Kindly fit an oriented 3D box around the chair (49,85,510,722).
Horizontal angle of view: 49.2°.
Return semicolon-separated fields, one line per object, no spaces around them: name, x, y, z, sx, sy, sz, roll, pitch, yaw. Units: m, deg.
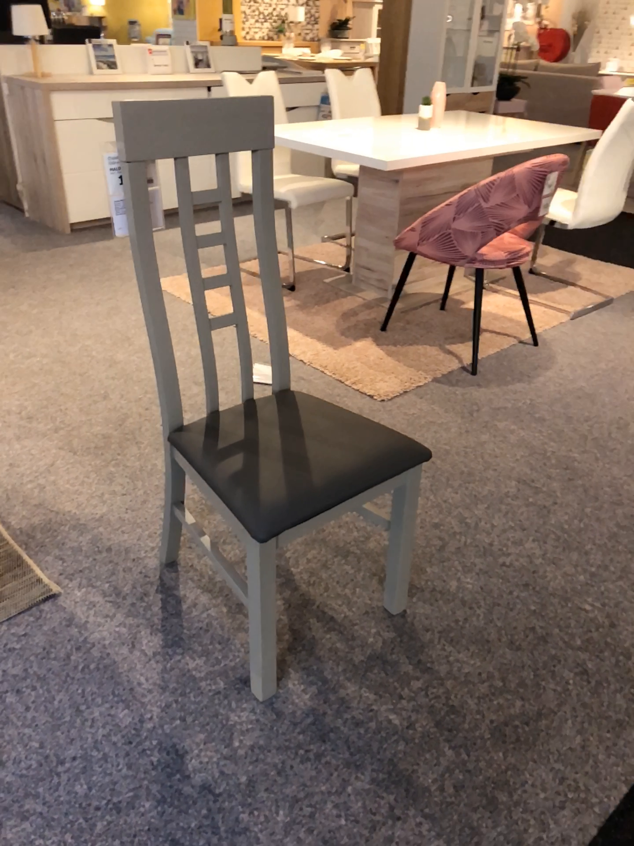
chair;-0.087;-0.075;1.364;0.513;1.014;0.550;-22;37;-36
